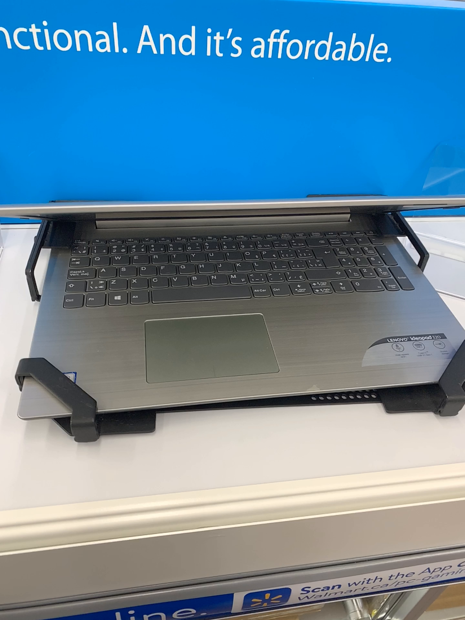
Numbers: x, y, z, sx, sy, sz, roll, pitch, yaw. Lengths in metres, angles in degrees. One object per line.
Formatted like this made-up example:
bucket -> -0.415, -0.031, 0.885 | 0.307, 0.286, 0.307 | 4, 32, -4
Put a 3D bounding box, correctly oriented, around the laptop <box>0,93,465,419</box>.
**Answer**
laptop -> 0.017, -0.064, 0.364 | 0.326, 0.115, 0.230 | -3, 42, -10
